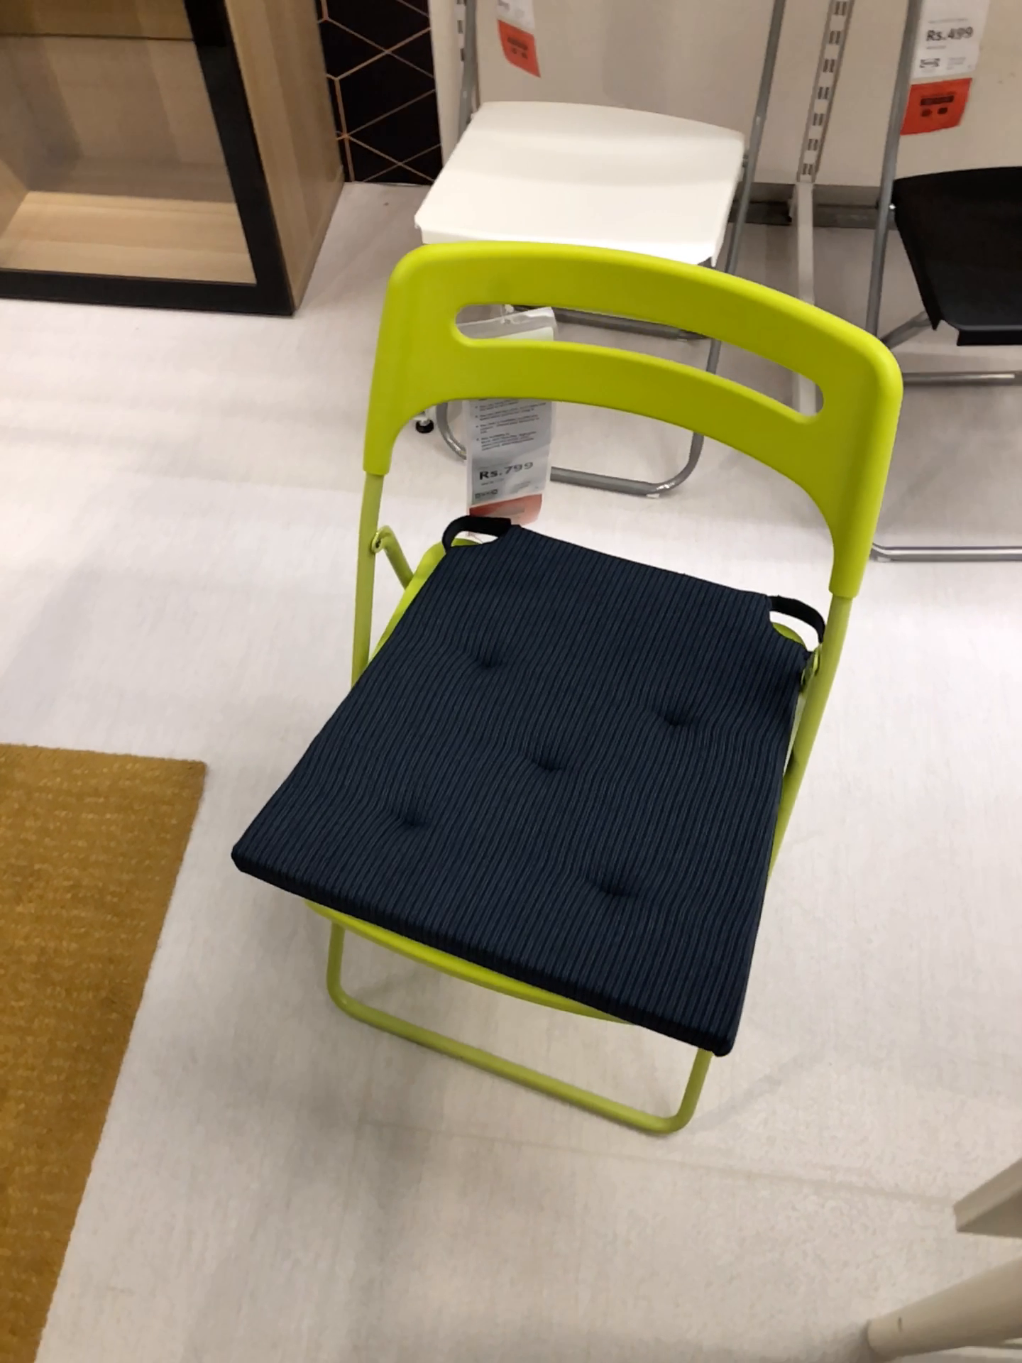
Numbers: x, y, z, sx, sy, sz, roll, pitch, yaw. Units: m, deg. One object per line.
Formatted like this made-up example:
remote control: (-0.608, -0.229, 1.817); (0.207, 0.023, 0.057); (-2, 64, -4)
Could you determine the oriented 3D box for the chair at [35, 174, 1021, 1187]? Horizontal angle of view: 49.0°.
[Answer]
chair: (0.060, 0.041, 0.942); (0.490, 0.637, 0.462); (17, 59, 13)
